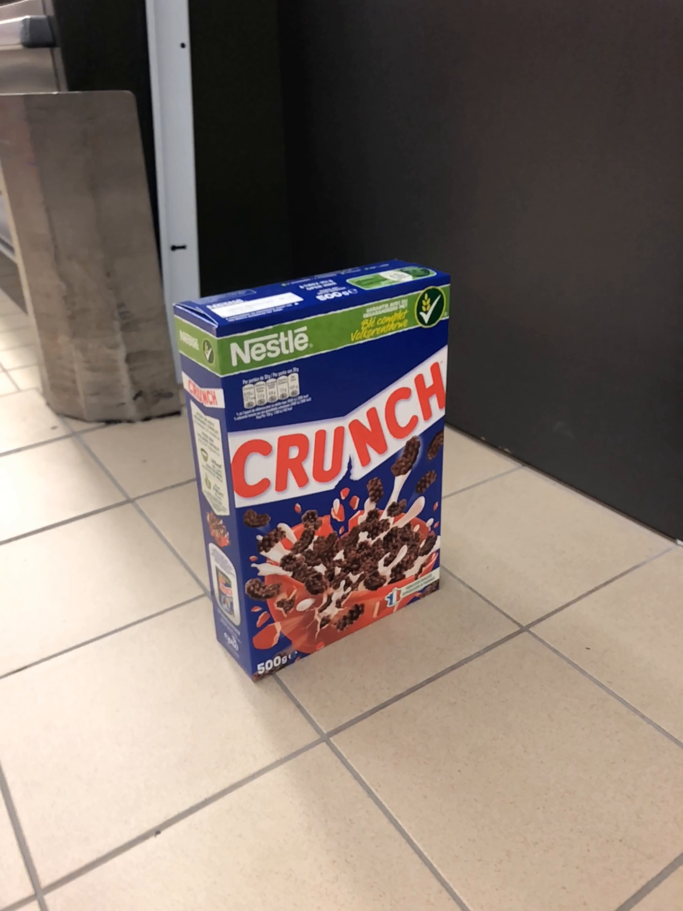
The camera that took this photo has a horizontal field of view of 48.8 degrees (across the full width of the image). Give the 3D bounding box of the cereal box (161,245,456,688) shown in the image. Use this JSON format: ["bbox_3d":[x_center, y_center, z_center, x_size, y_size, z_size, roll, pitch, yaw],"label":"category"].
[{"bbox_3d":[-0.014,0.007,0.573,0.191,0.288,0.070,-20,33,-30],"label":"cereal box"}]
